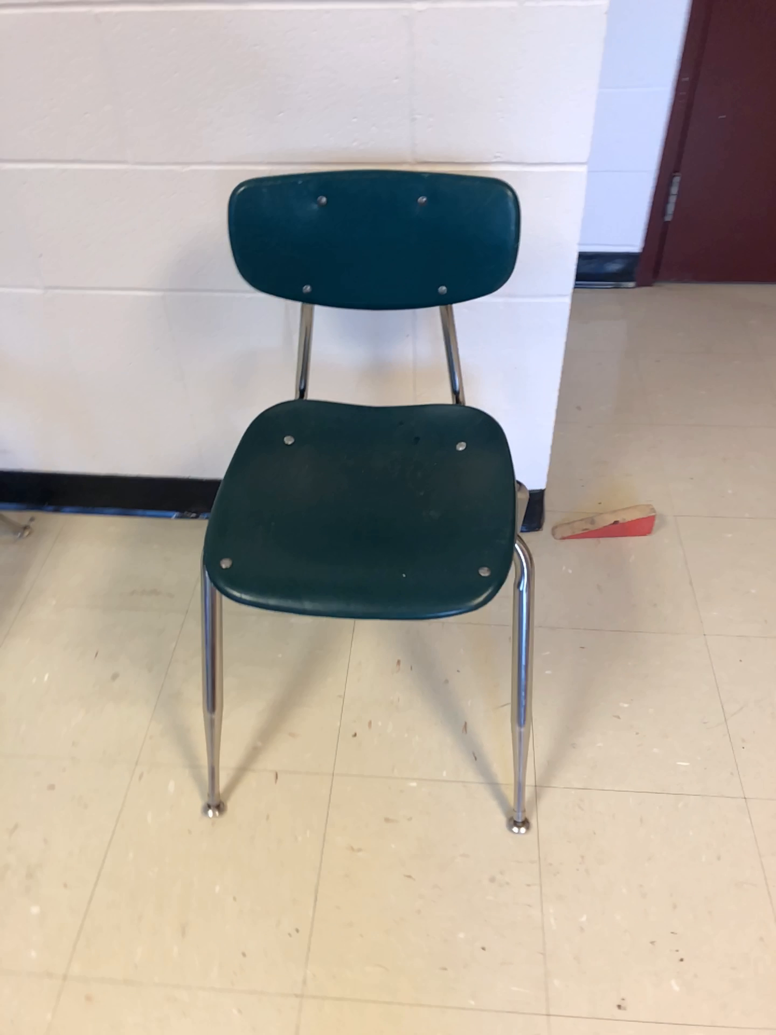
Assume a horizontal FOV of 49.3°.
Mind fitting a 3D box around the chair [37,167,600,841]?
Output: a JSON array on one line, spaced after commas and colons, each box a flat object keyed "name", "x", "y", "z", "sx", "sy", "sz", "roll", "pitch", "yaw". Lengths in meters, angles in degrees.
[{"name": "chair", "x": -0.029, "y": -0.016, "z": 1.166, "sx": 0.480, "sy": 0.695, "sz": 0.594, "roll": 1, "pitch": 42, "yaw": 5}]
